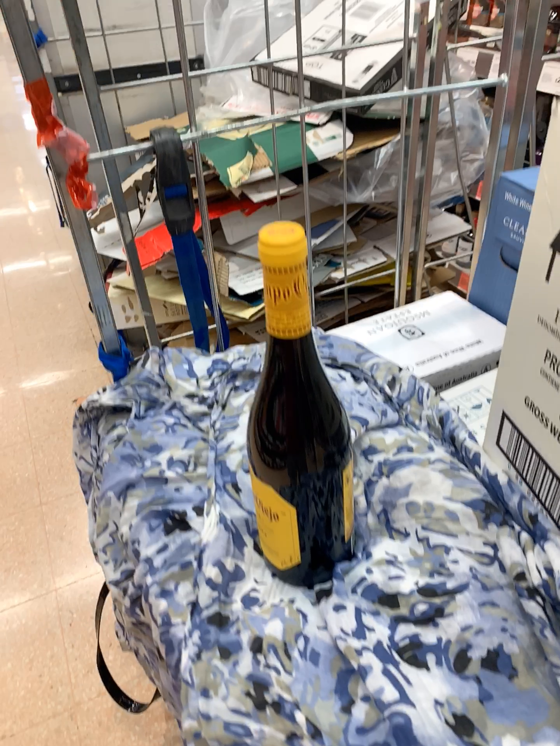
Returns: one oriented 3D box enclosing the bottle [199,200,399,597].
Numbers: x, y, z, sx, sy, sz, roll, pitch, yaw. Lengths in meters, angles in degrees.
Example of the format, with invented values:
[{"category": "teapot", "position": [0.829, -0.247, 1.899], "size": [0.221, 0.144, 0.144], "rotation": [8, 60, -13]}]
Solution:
[{"category": "bottle", "position": [0.013, 0.030, 0.410], "size": [0.090, 0.270, 0.091], "rotation": [-2, 37, 2]}]
